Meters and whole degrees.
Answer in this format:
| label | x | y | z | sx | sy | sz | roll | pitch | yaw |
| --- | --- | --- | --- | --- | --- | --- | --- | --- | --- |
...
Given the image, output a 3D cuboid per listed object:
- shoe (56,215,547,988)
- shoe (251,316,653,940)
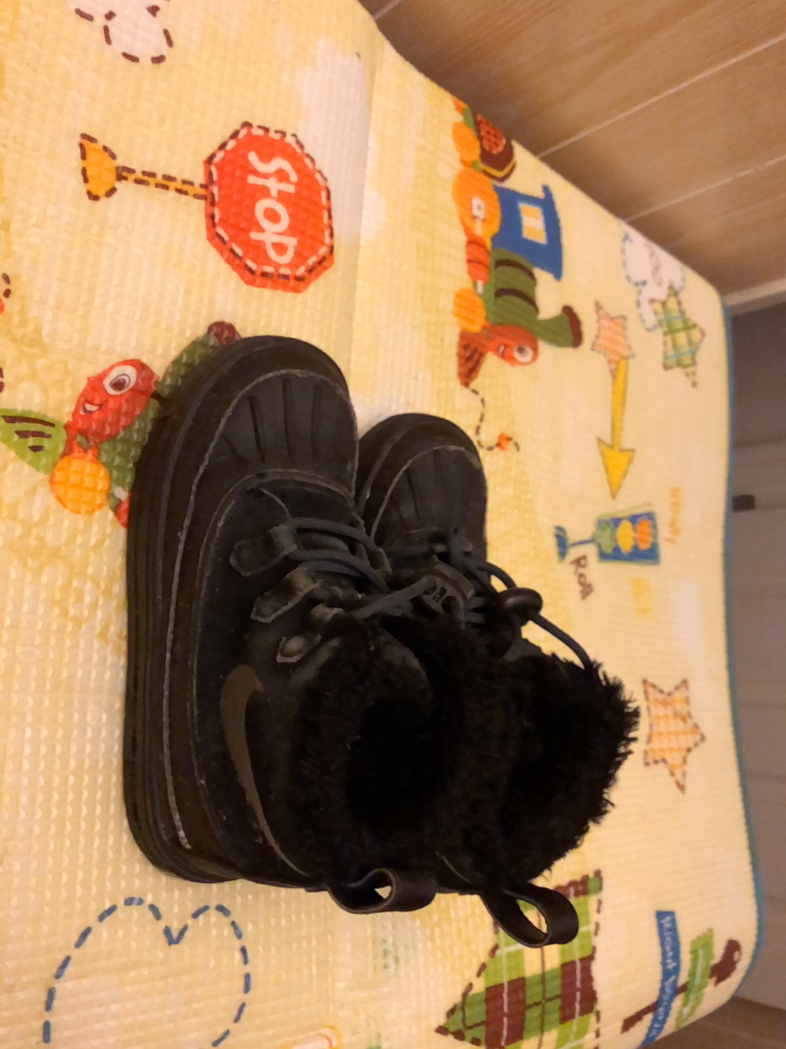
| label | x | y | z | sx | sy | sz | roll | pitch | yaw |
| --- | --- | --- | --- | --- | --- | --- | --- | --- | --- |
| shoe | -0.029 | 0.026 | 0.306 | 0.090 | 0.119 | 0.210 | 18 | 72 | -41 |
| shoe | 0.030 | 0.043 | 0.370 | 0.090 | 0.110 | 0.220 | 23 | 69 | -40 |
